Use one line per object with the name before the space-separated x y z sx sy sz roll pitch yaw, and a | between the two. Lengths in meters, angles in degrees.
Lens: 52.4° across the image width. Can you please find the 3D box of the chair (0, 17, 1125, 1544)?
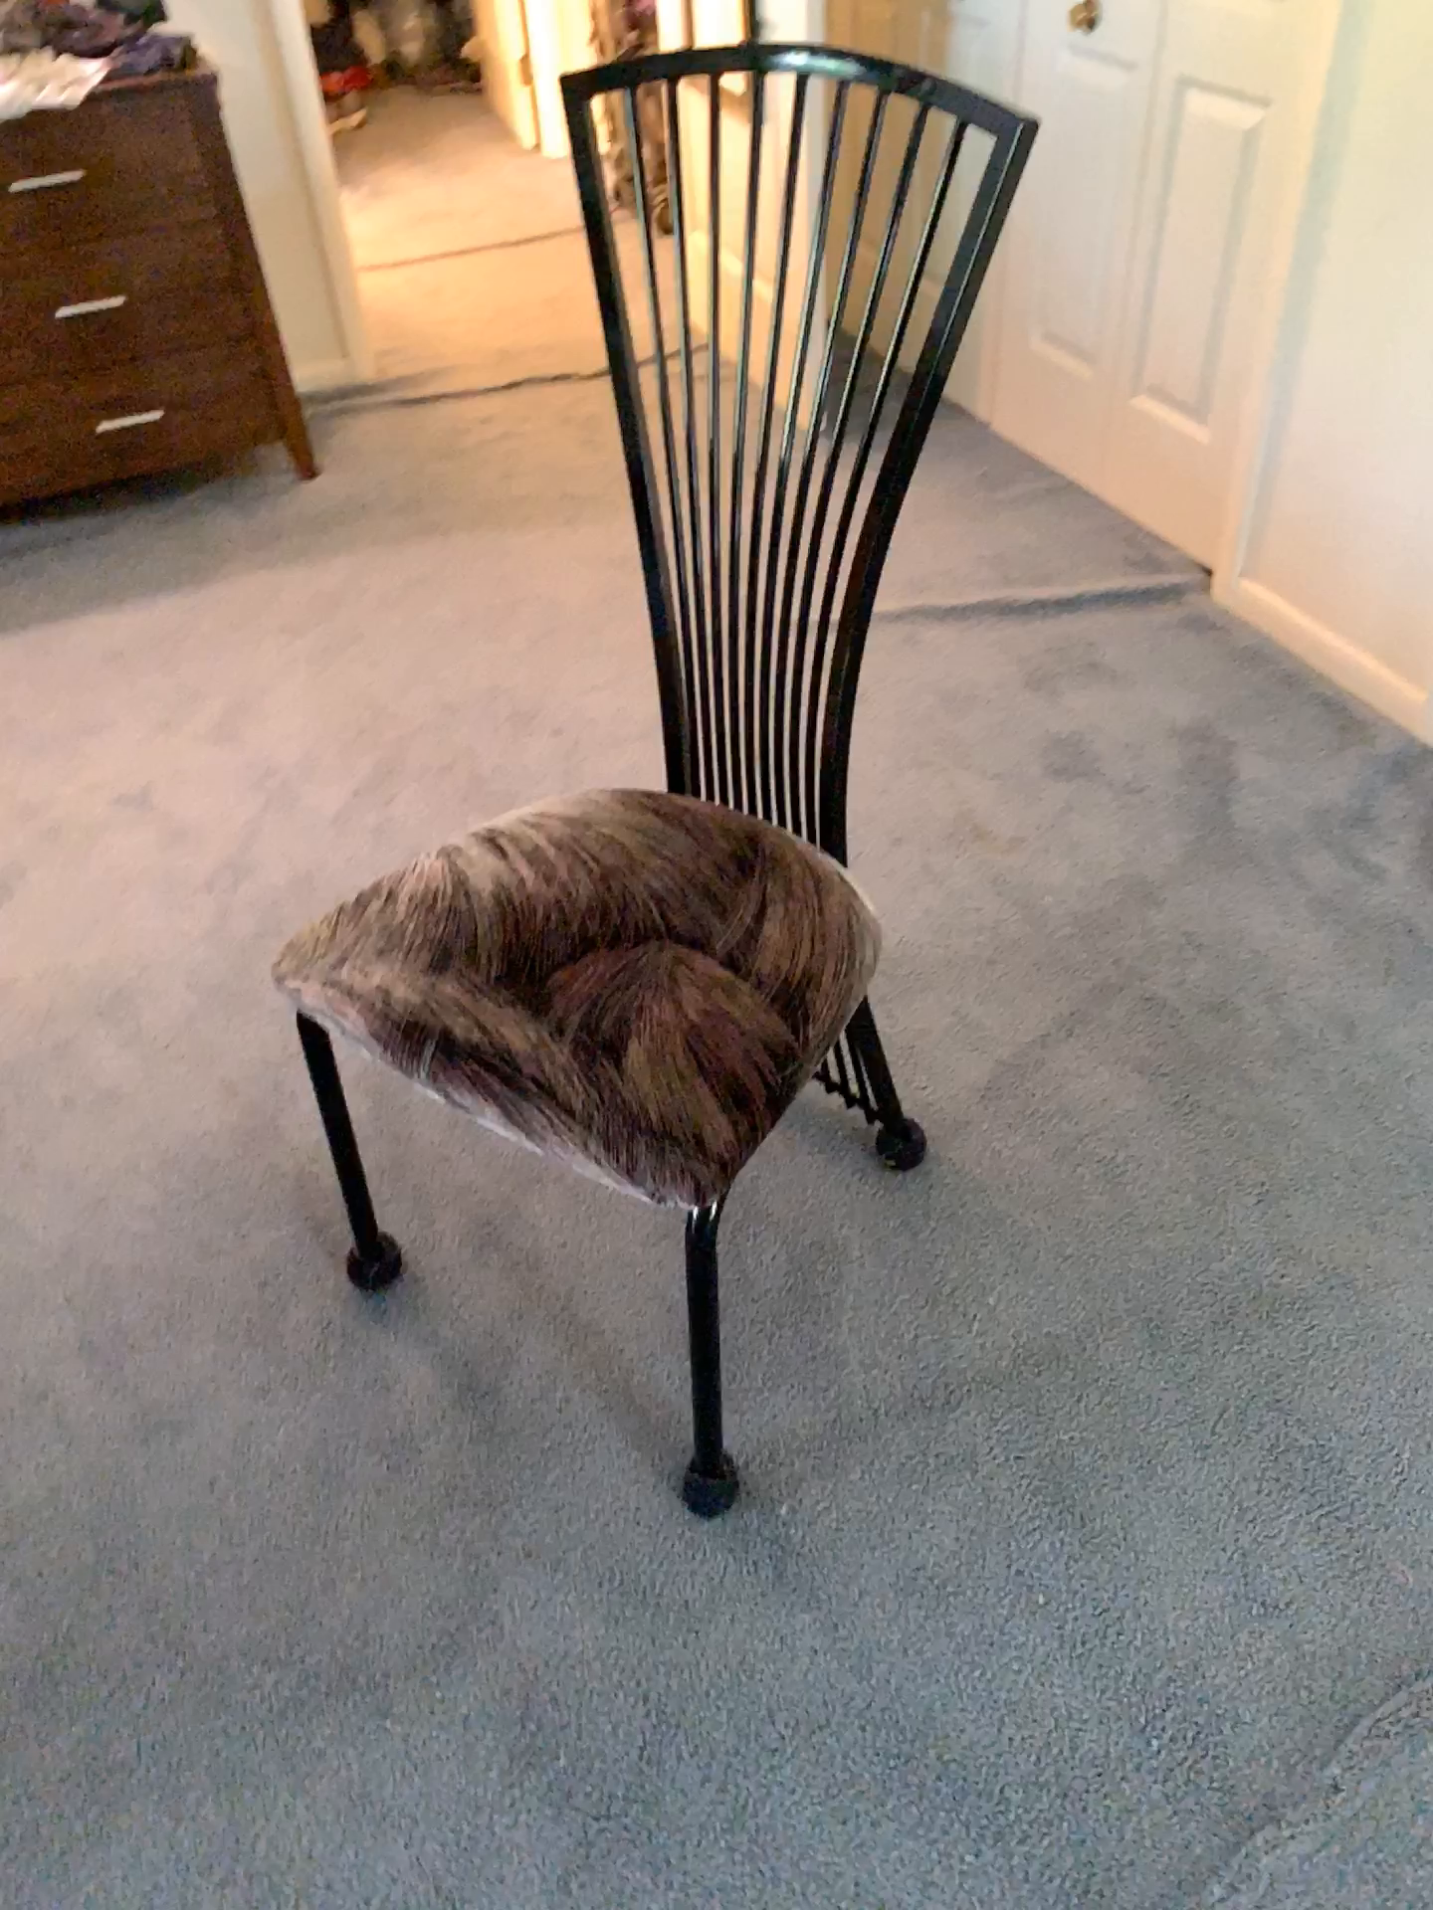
chair | -0.084 -0.116 1.166 0.511 0.975 0.542 22 48 26
